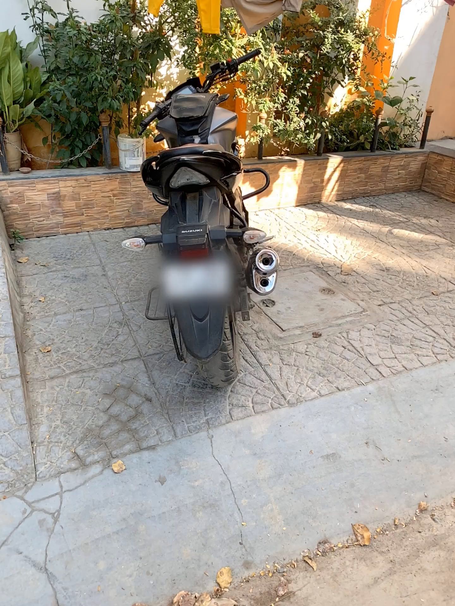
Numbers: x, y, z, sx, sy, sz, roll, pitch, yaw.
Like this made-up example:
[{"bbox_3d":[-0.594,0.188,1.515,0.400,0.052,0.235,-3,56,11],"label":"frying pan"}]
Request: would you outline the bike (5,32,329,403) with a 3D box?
[{"bbox_3d":[-0.303,-0.551,2.123,0.809,1.140,1.630,-2,31,-8],"label":"bike"}]
